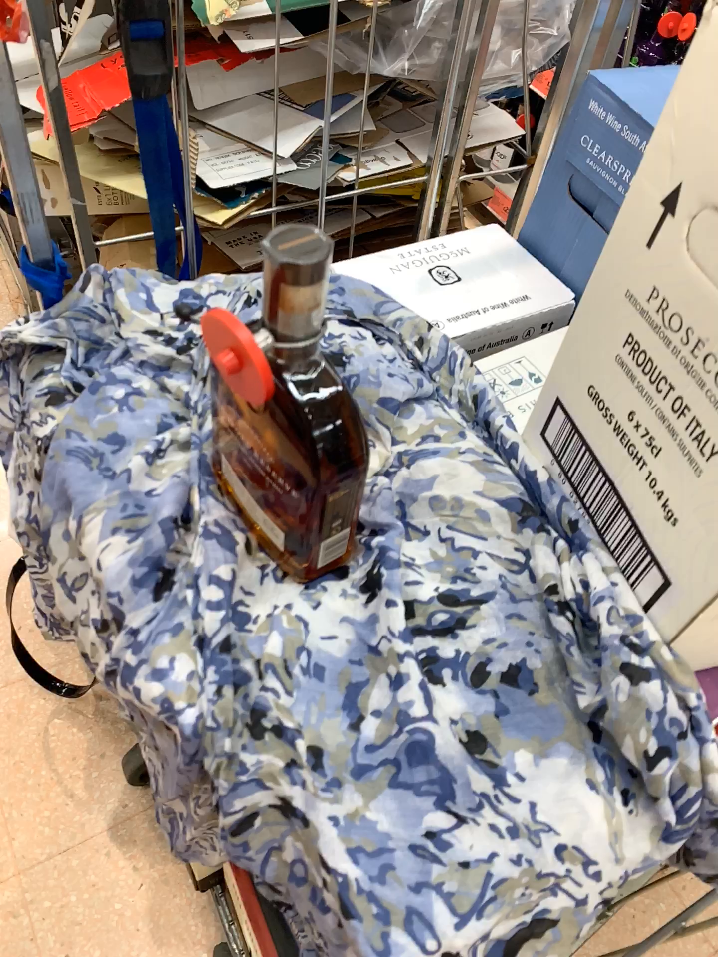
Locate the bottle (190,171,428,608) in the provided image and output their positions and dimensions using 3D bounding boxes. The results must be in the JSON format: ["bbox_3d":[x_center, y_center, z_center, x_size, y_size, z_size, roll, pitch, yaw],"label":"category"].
[{"bbox_3d":[-0.045,-0.041,0.436,0.051,0.222,0.134,-24,59,-28],"label":"bottle"}]
